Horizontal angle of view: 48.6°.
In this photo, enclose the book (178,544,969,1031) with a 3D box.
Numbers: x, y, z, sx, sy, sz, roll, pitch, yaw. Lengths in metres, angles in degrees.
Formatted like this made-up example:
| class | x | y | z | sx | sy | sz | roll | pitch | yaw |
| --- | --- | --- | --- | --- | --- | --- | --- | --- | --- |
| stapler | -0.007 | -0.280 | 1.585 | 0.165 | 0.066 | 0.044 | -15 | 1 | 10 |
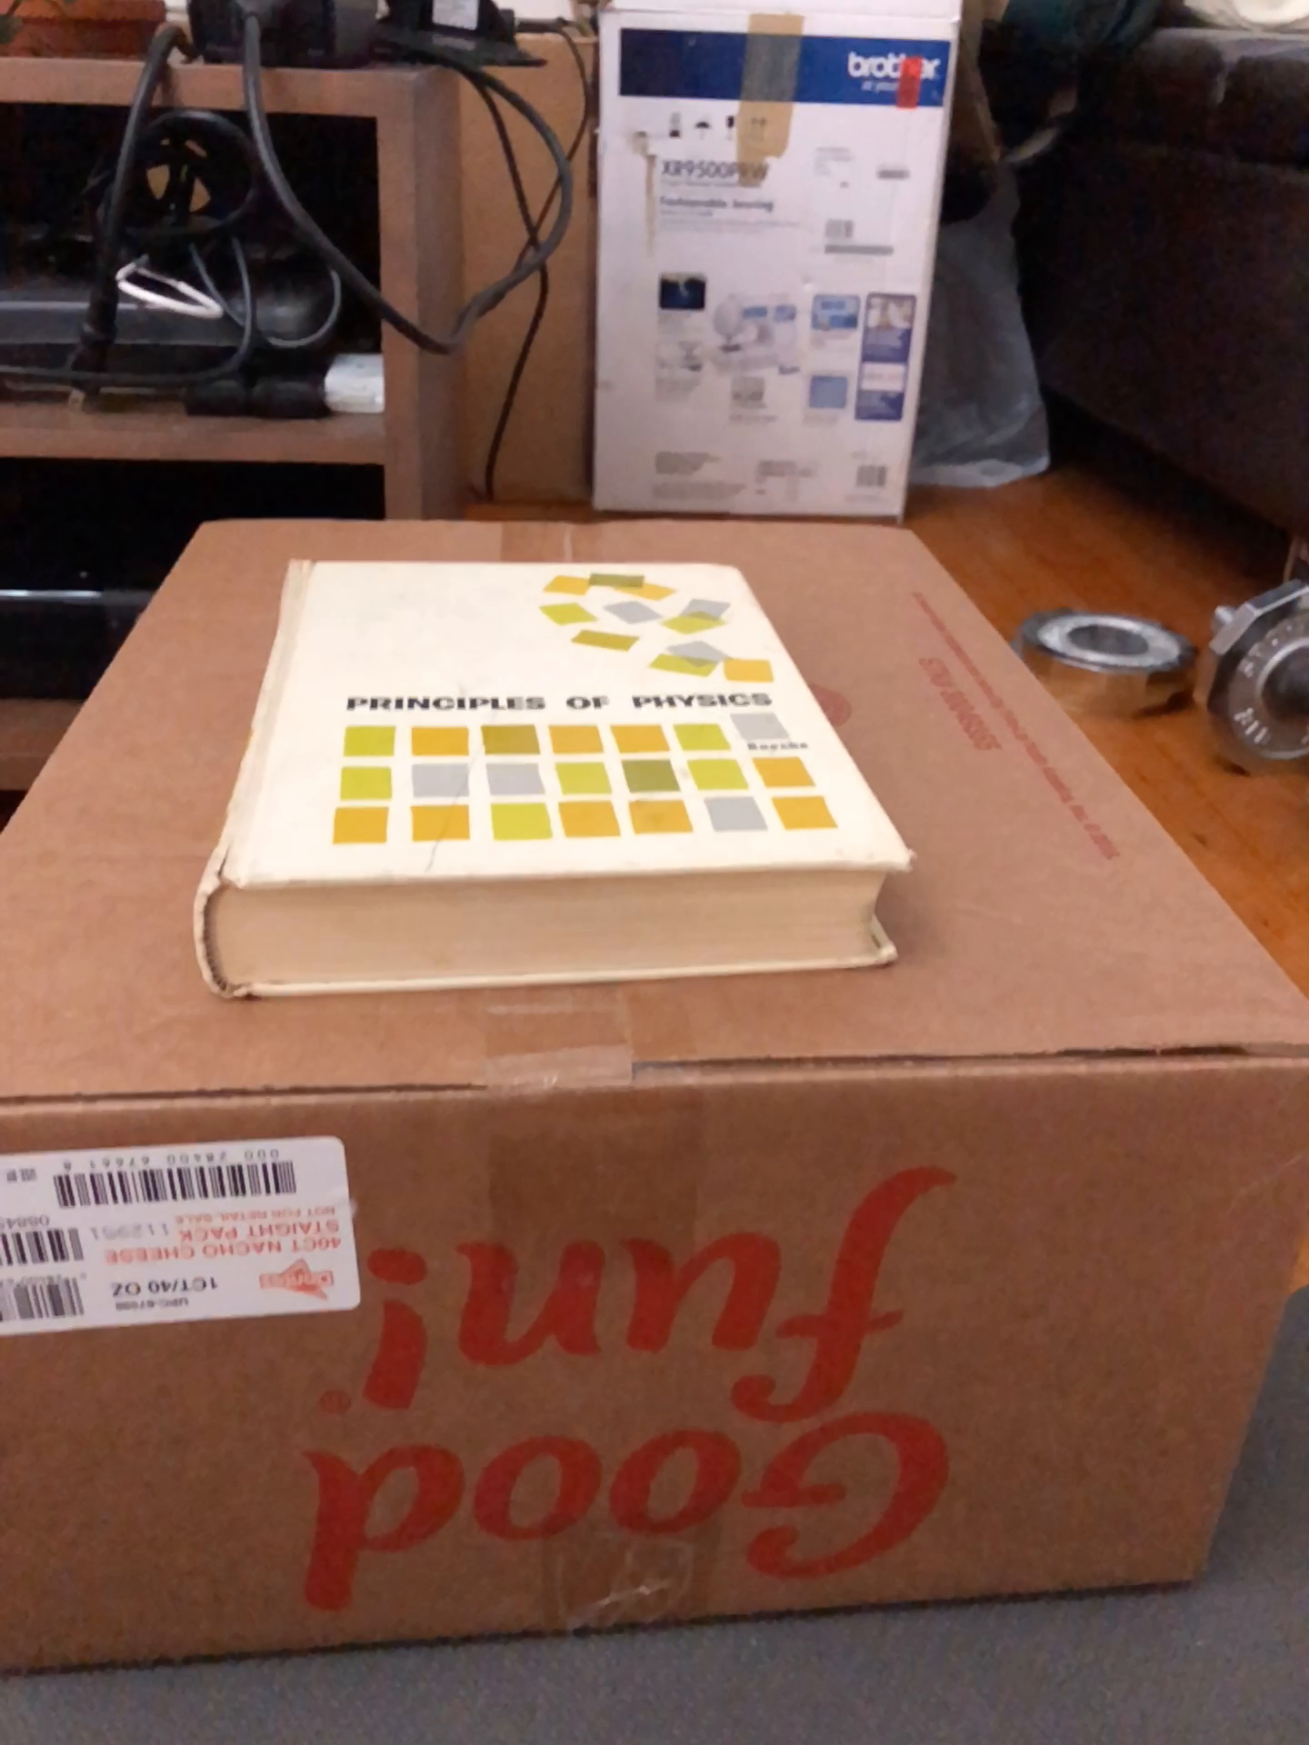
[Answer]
| class | x | y | z | sx | sy | sz | roll | pitch | yaw |
| --- | --- | --- | --- | --- | --- | --- | --- | --- | --- |
| book | -0.031 | -0.045 | 0.448 | 0.180 | 0.040 | 0.251 | -2 | 29 | -7 |
